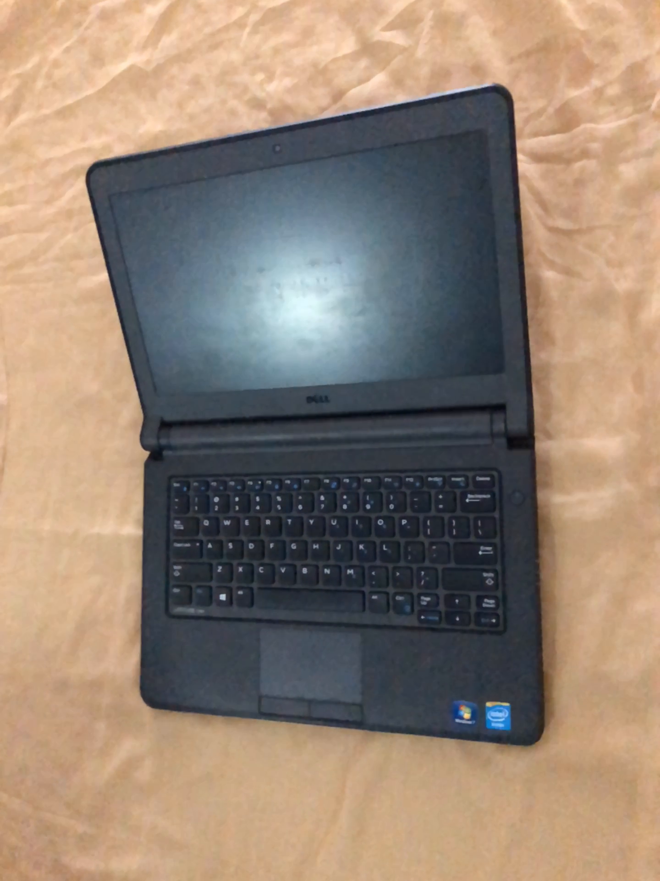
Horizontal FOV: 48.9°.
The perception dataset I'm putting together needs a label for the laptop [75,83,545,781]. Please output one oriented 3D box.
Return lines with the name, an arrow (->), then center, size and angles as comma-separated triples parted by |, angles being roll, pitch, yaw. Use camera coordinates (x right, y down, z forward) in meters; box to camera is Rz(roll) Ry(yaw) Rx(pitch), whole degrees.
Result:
laptop -> -0.017, -0.003, 0.516 | 0.309, 0.092, 0.409 | -2, 84, 19
